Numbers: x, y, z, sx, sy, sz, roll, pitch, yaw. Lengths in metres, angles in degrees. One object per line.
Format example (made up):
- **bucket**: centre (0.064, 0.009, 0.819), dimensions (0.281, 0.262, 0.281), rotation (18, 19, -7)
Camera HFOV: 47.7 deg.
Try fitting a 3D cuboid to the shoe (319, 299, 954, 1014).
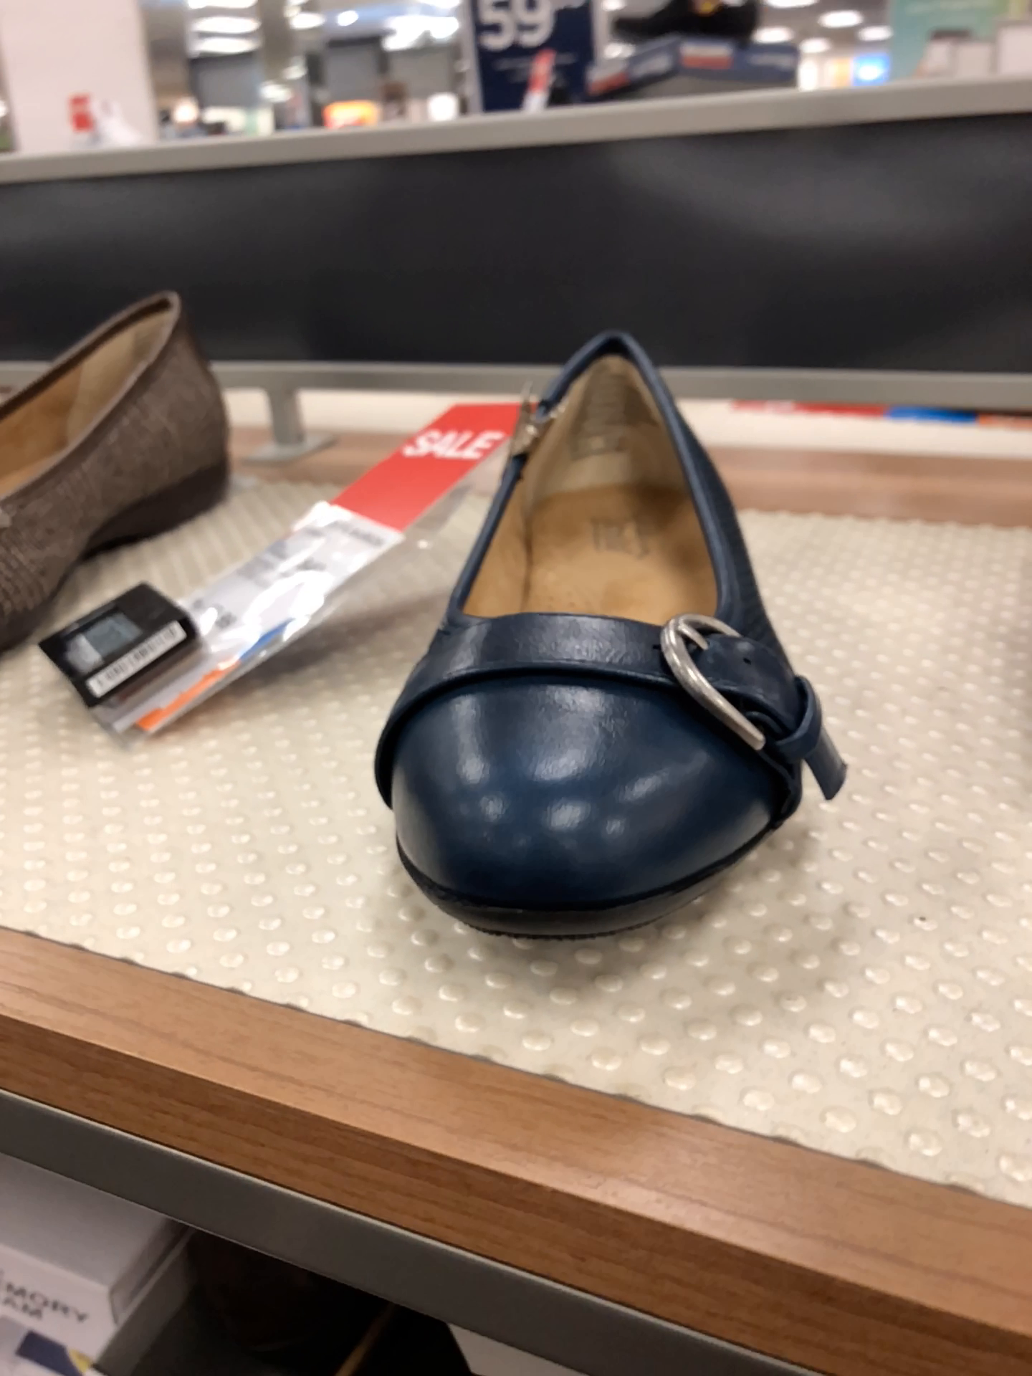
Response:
- **shoe**: centre (0.030, -0.041, 0.305), dimensions (0.088, 0.081, 0.280), rotation (-1, 24, 6)
